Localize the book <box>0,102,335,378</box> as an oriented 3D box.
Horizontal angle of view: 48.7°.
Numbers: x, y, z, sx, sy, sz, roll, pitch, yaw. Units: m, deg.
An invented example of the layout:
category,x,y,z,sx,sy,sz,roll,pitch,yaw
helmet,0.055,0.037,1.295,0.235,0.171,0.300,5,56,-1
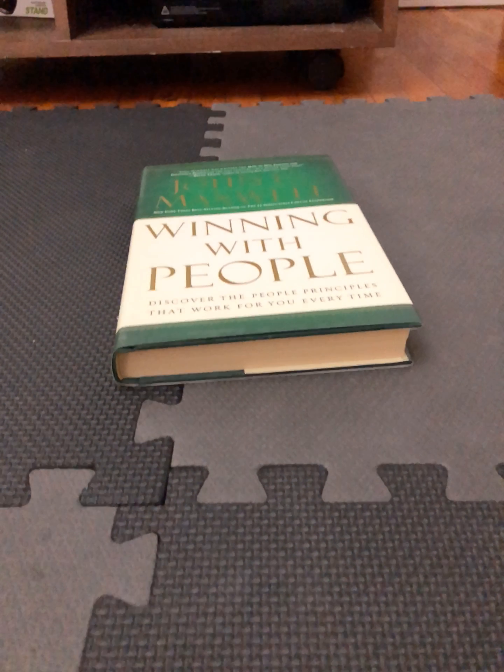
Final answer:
category,x,y,z,sx,sy,sz,roll,pitch,yaw
book,-0.073,-0.087,0.348,0.200,0.030,0.292,-3,37,-1
